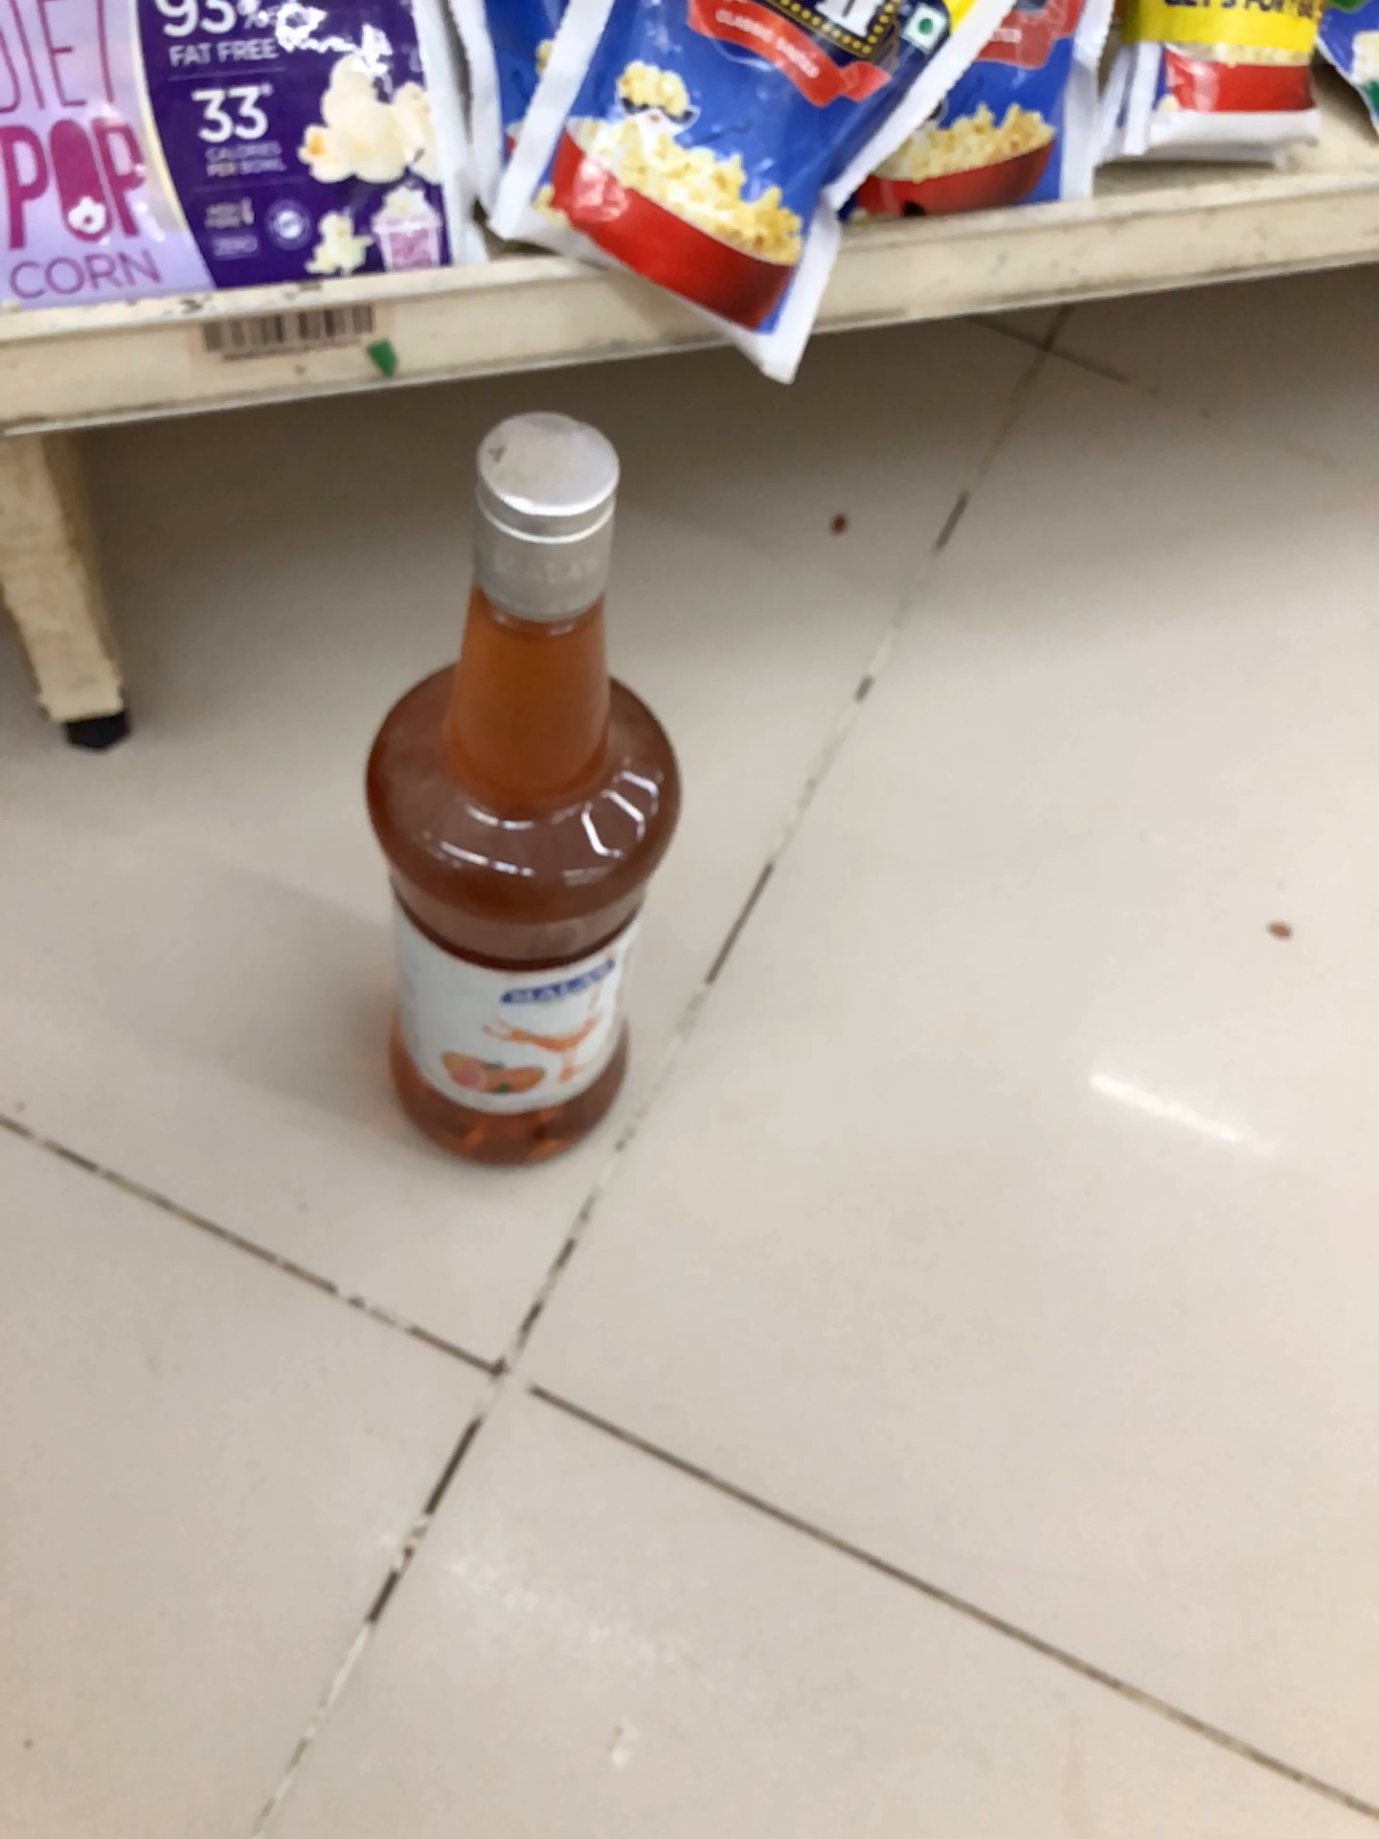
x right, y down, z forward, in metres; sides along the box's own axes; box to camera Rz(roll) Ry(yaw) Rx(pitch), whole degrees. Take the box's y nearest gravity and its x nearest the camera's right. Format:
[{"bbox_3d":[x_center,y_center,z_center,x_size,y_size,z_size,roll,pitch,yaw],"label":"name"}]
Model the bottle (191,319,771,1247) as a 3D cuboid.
[{"bbox_3d":[-0.058,-0.010,0.430,0.090,0.289,0.090,3,60,-5],"label":"bottle"}]
